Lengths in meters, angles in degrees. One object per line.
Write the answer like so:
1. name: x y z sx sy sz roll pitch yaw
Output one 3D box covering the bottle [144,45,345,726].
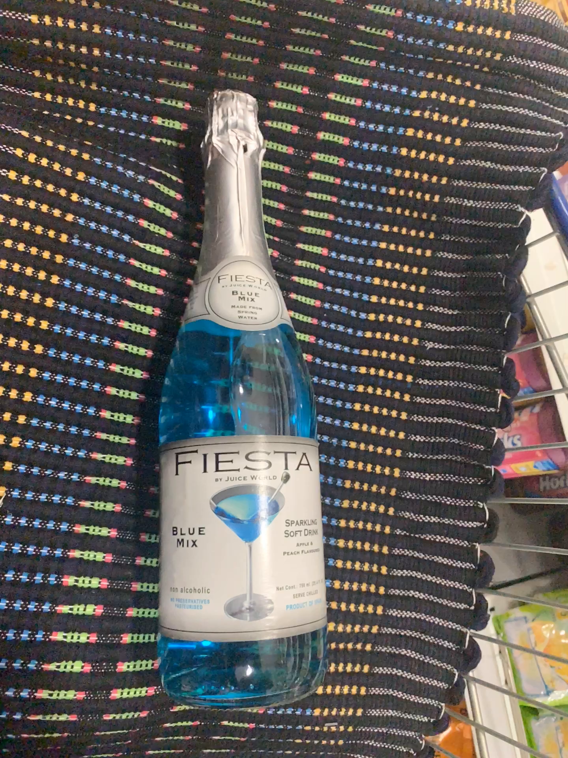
1. bottle: -0.032 -0.006 0.317 0.080 0.100 0.310 1 75 -13
